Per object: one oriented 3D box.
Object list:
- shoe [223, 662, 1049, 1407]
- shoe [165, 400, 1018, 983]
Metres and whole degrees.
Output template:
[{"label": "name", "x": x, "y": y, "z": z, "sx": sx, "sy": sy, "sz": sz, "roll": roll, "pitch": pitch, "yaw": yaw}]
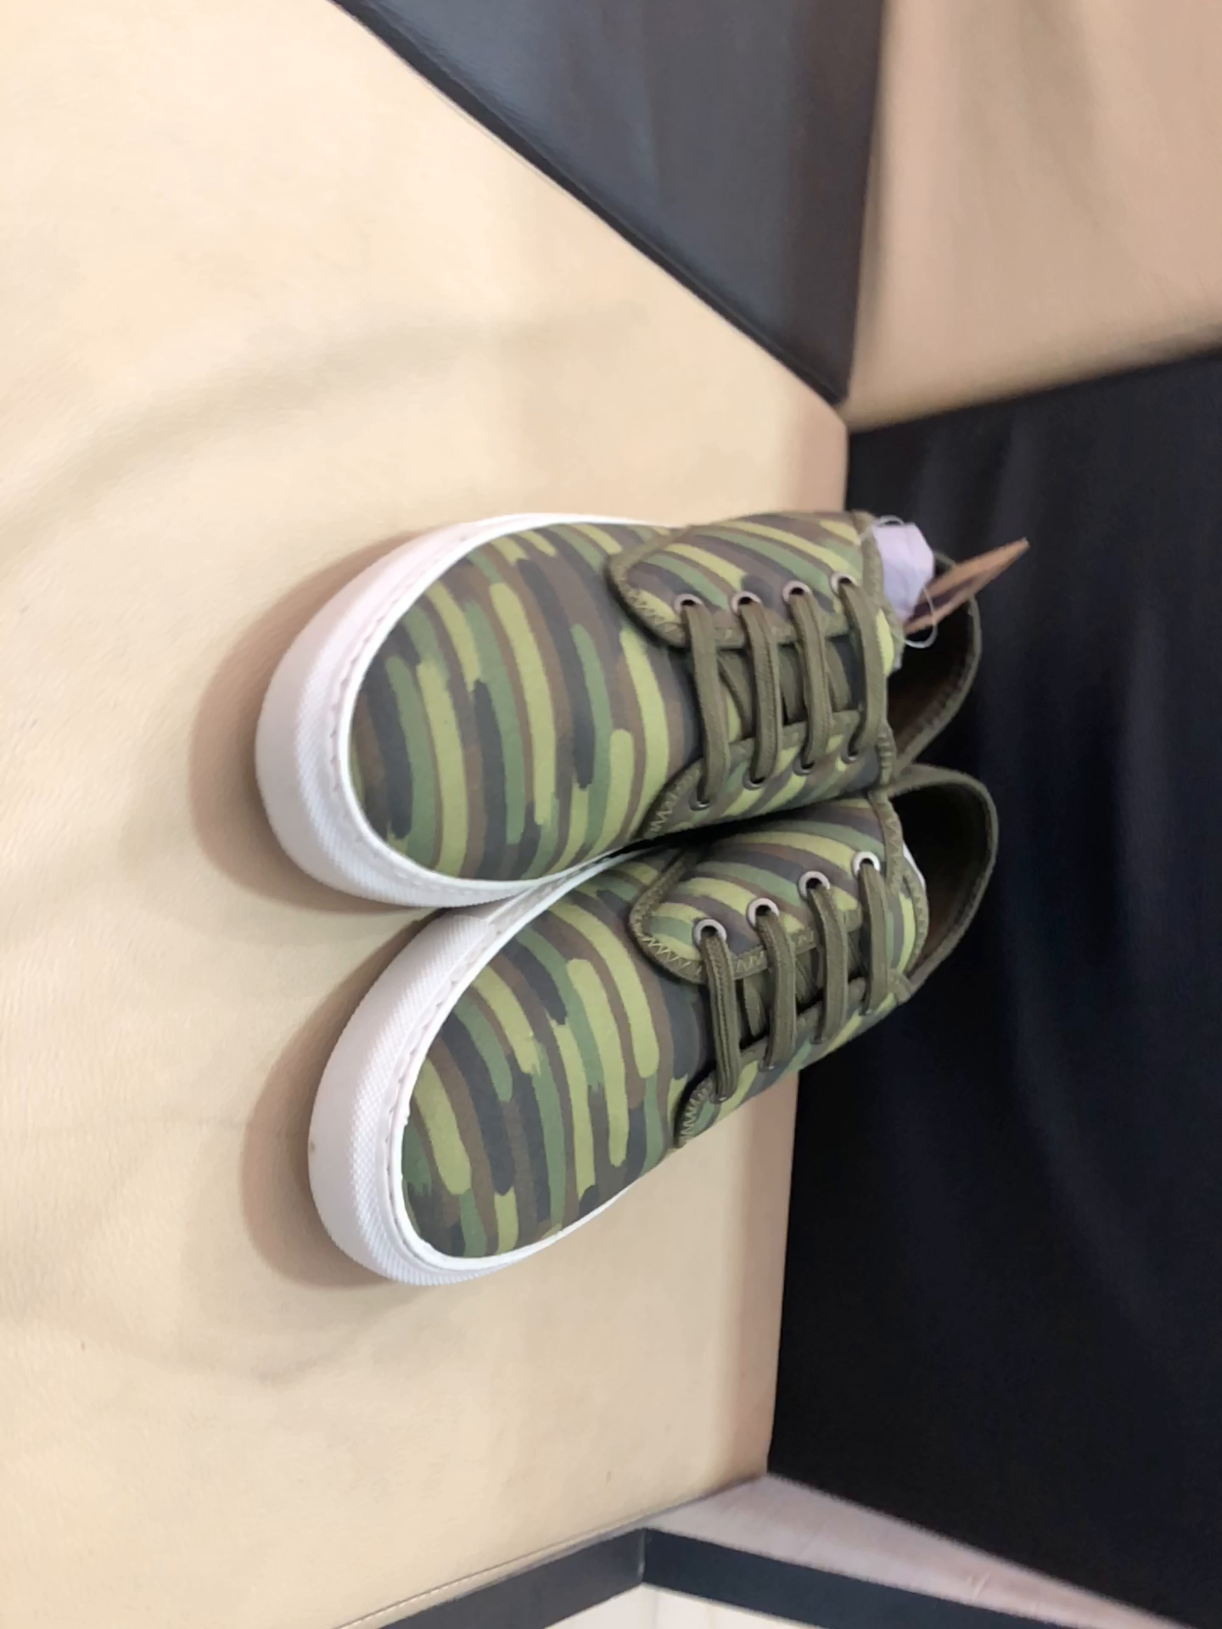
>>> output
[{"label": "shoe", "x": 0.039, "y": 0.040, "z": 0.441, "sx": 0.312, "sy": 0.079, "sz": 0.100, "roll": -28, "pitch": 111, "yaw": -47}, {"label": "shoe", "x": 0.025, "y": -0.059, "z": 0.437, "sx": 0.312, "sy": 0.079, "sz": 0.100, "roll": -28, "pitch": 111, "yaw": -47}]
